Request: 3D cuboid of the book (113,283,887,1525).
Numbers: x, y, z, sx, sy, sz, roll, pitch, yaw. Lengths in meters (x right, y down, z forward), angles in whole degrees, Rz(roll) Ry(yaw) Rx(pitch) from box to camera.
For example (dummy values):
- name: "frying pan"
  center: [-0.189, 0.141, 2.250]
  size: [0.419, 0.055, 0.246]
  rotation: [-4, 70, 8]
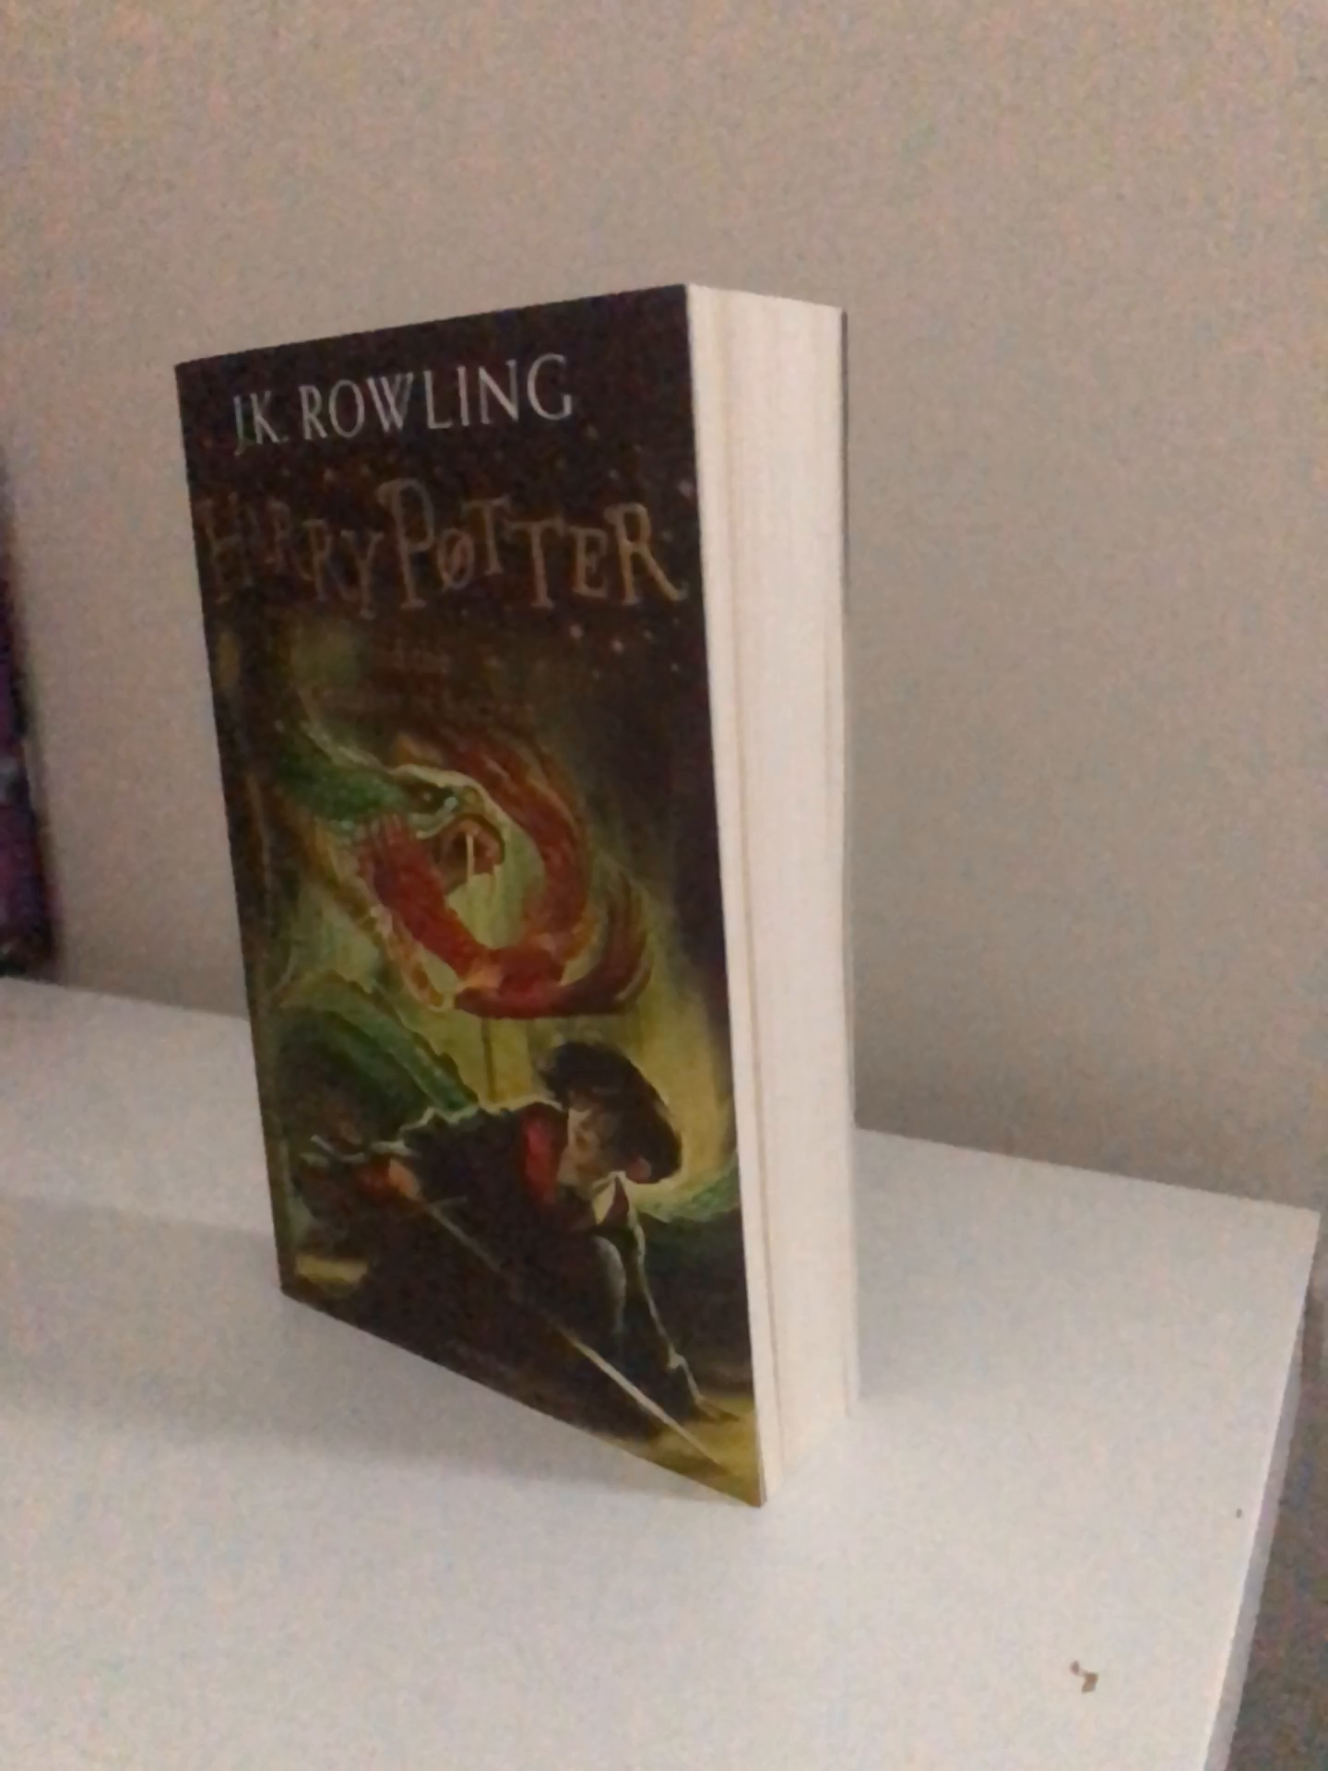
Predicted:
- name: "book"
  center: [-0.029, 0.000, 0.270]
  size: [0.130, 0.190, 0.039]
  rotation: [9, 21, 37]
